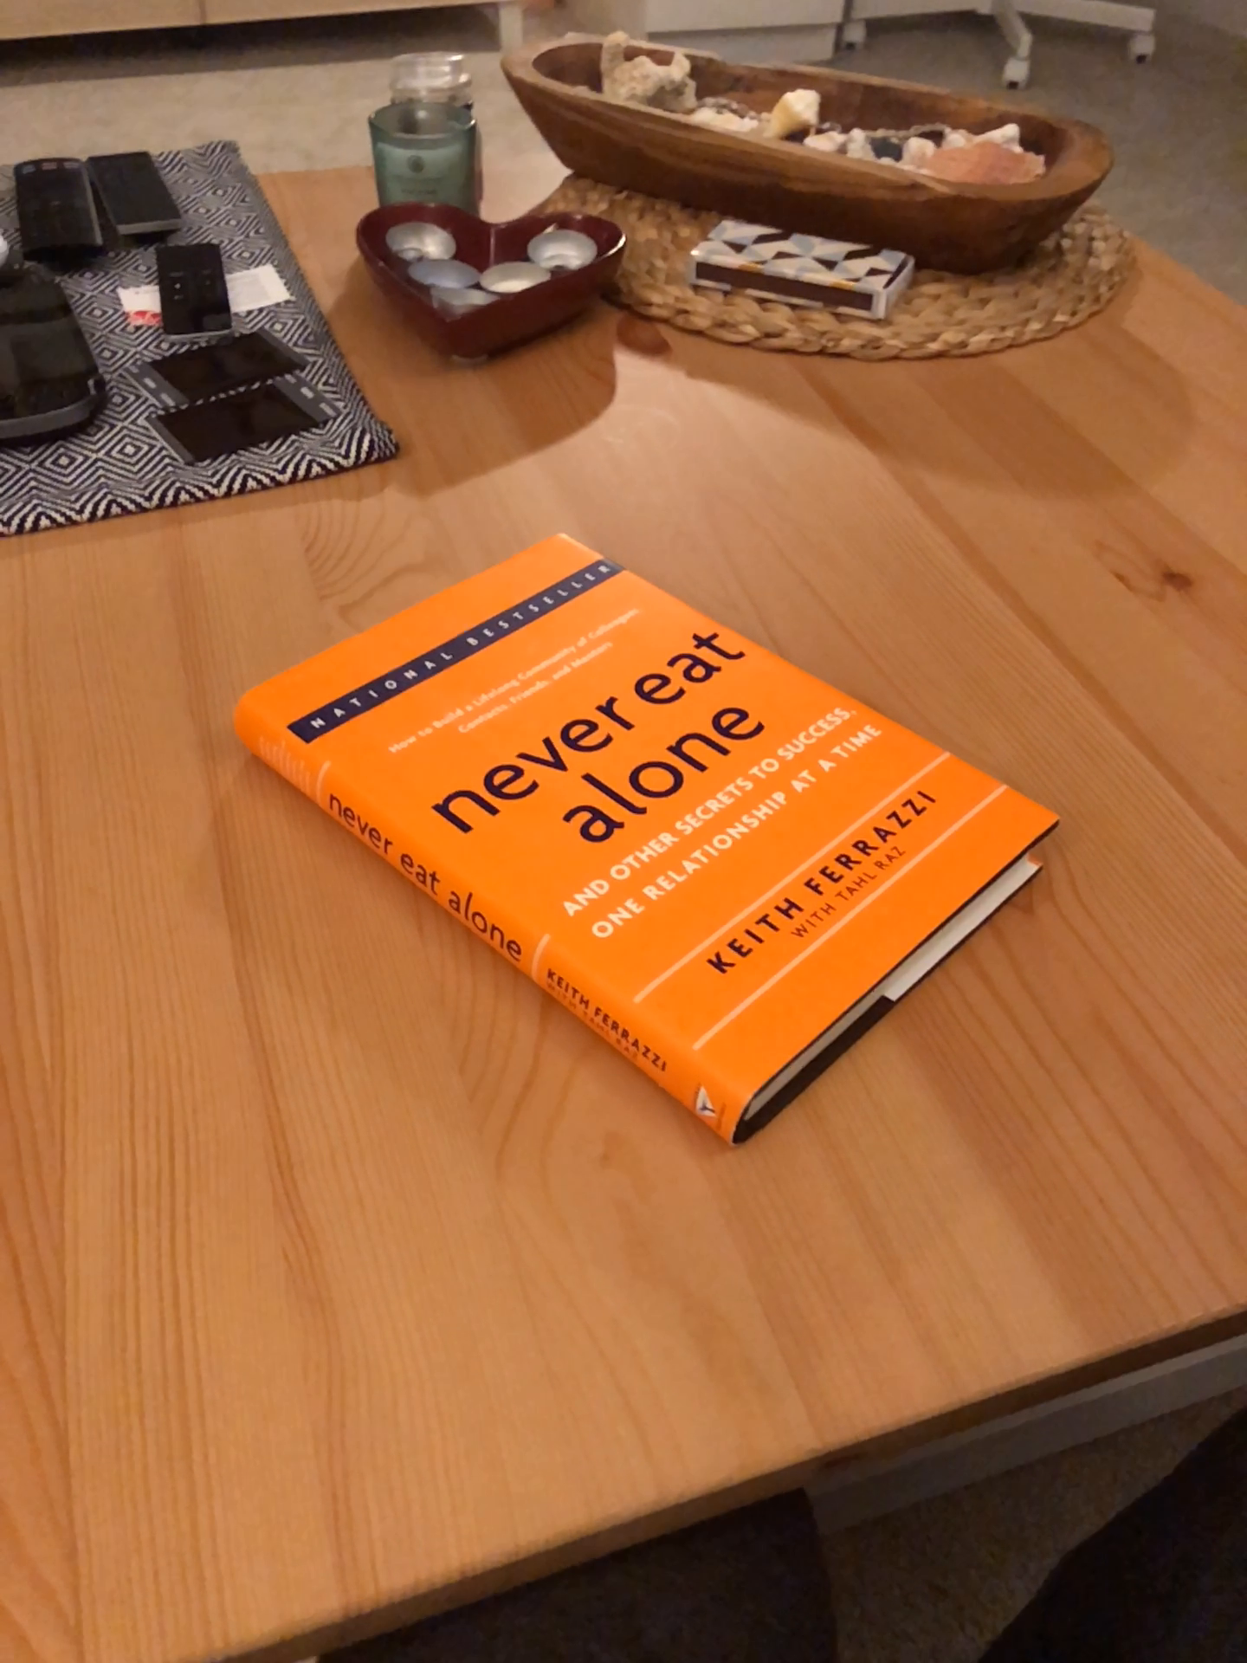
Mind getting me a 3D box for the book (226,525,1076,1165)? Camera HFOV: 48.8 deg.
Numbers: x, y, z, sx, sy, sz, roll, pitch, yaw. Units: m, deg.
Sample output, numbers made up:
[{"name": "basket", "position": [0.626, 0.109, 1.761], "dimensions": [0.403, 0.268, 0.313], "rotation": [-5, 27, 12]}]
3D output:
[{"name": "book", "position": [0.004, -0.017, 0.475], "dimensions": [0.240, 0.025, 0.167], "rotation": [35, 52, 29]}]
